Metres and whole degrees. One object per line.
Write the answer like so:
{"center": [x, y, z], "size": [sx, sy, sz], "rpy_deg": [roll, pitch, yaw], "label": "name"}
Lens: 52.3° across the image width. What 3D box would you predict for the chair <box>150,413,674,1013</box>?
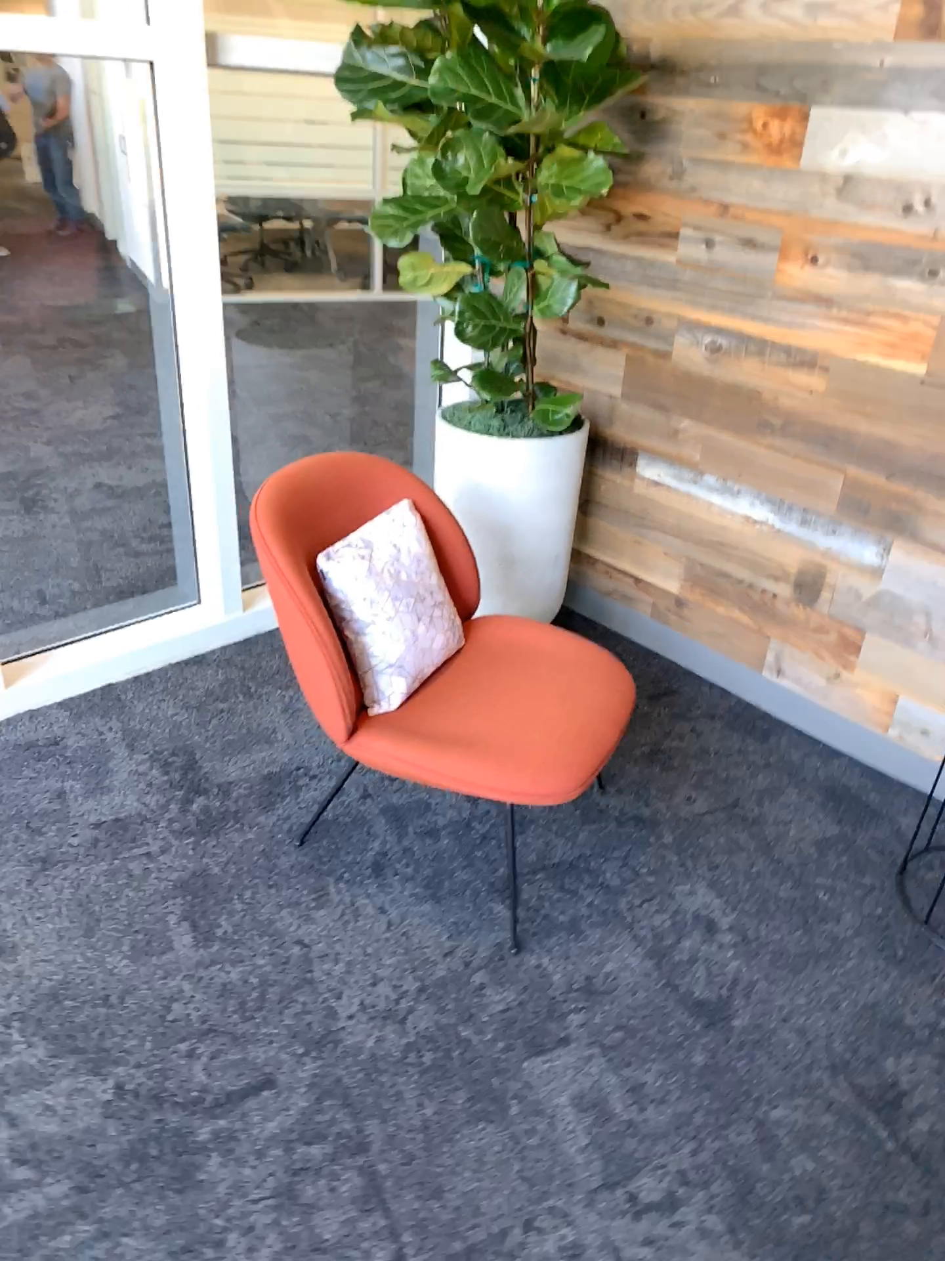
{"center": [-0.092, 0.099, 1.942], "size": [0.701, 0.795, 0.703], "rpy_deg": [16, 31, 21], "label": "chair"}
